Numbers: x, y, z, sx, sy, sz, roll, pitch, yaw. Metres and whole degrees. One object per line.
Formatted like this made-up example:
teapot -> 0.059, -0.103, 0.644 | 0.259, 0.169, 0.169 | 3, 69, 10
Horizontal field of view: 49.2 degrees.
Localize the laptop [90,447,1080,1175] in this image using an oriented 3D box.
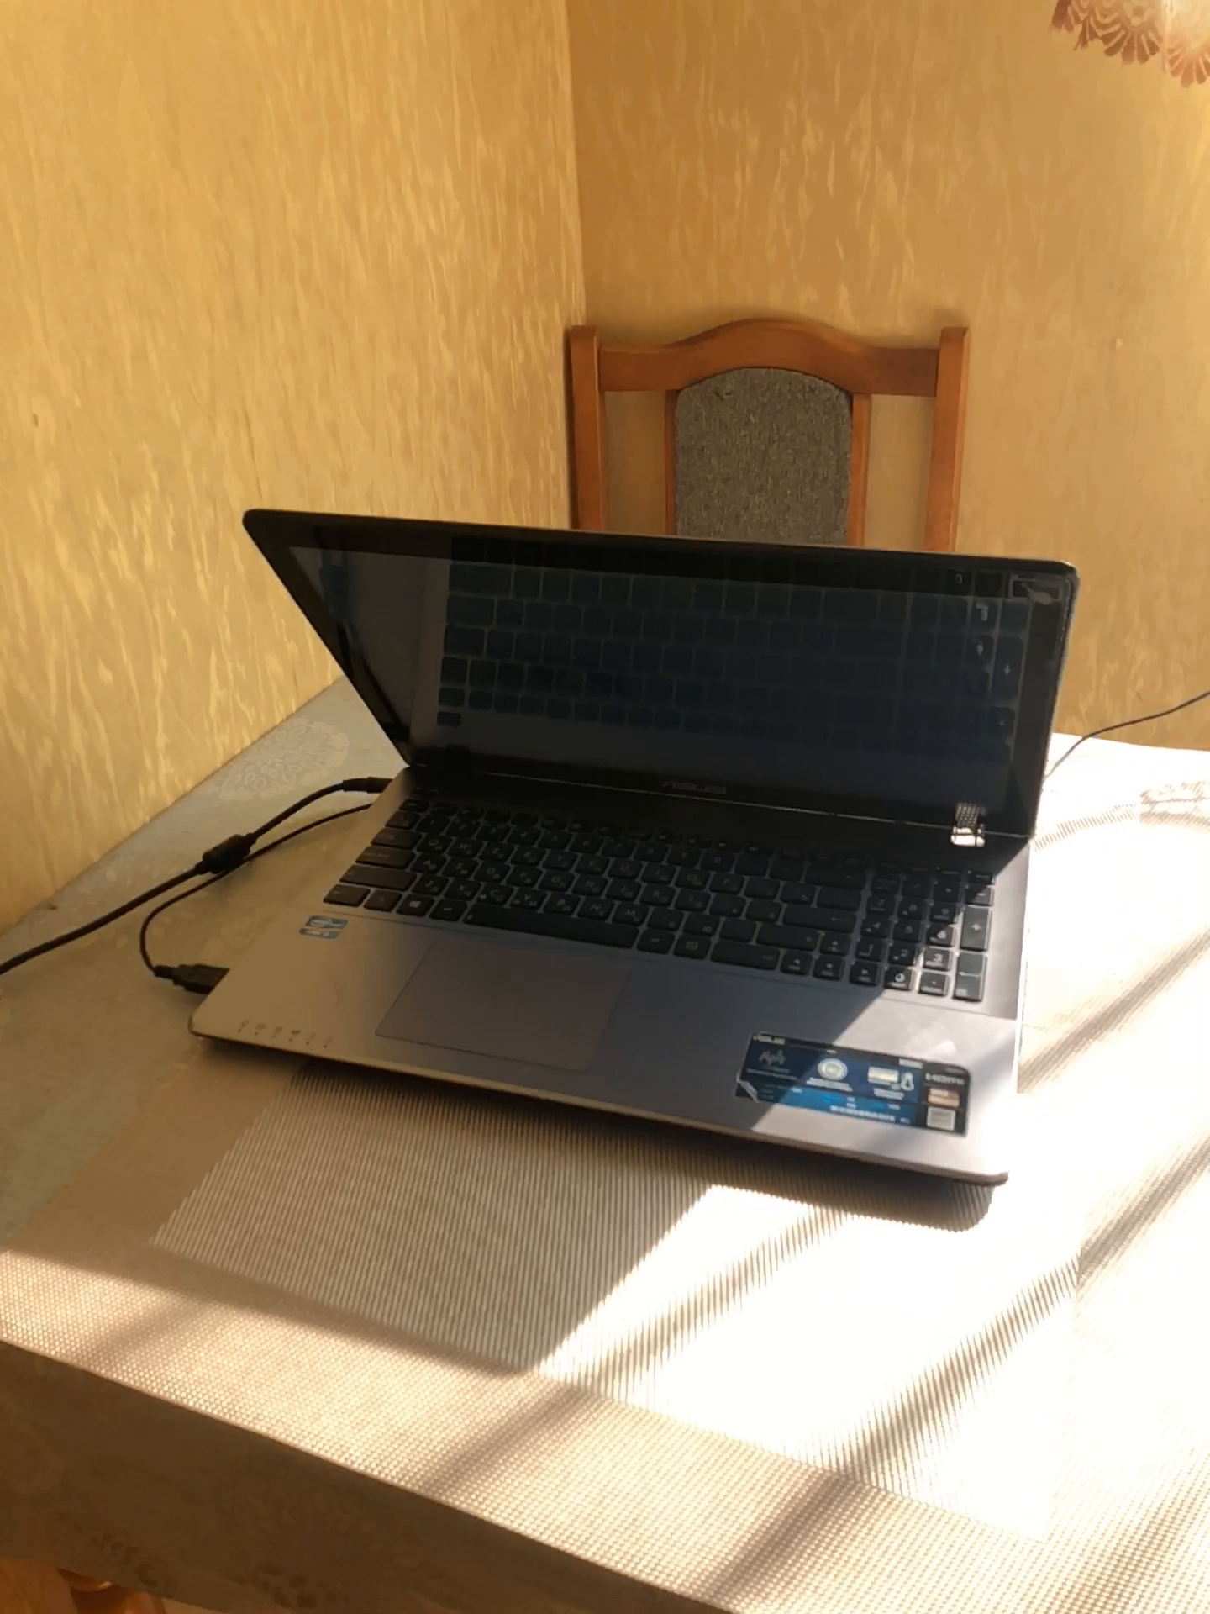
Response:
laptop -> 0.014, -0.024, 0.614 | 0.364, 0.197, 0.241 | 6, 33, 16
